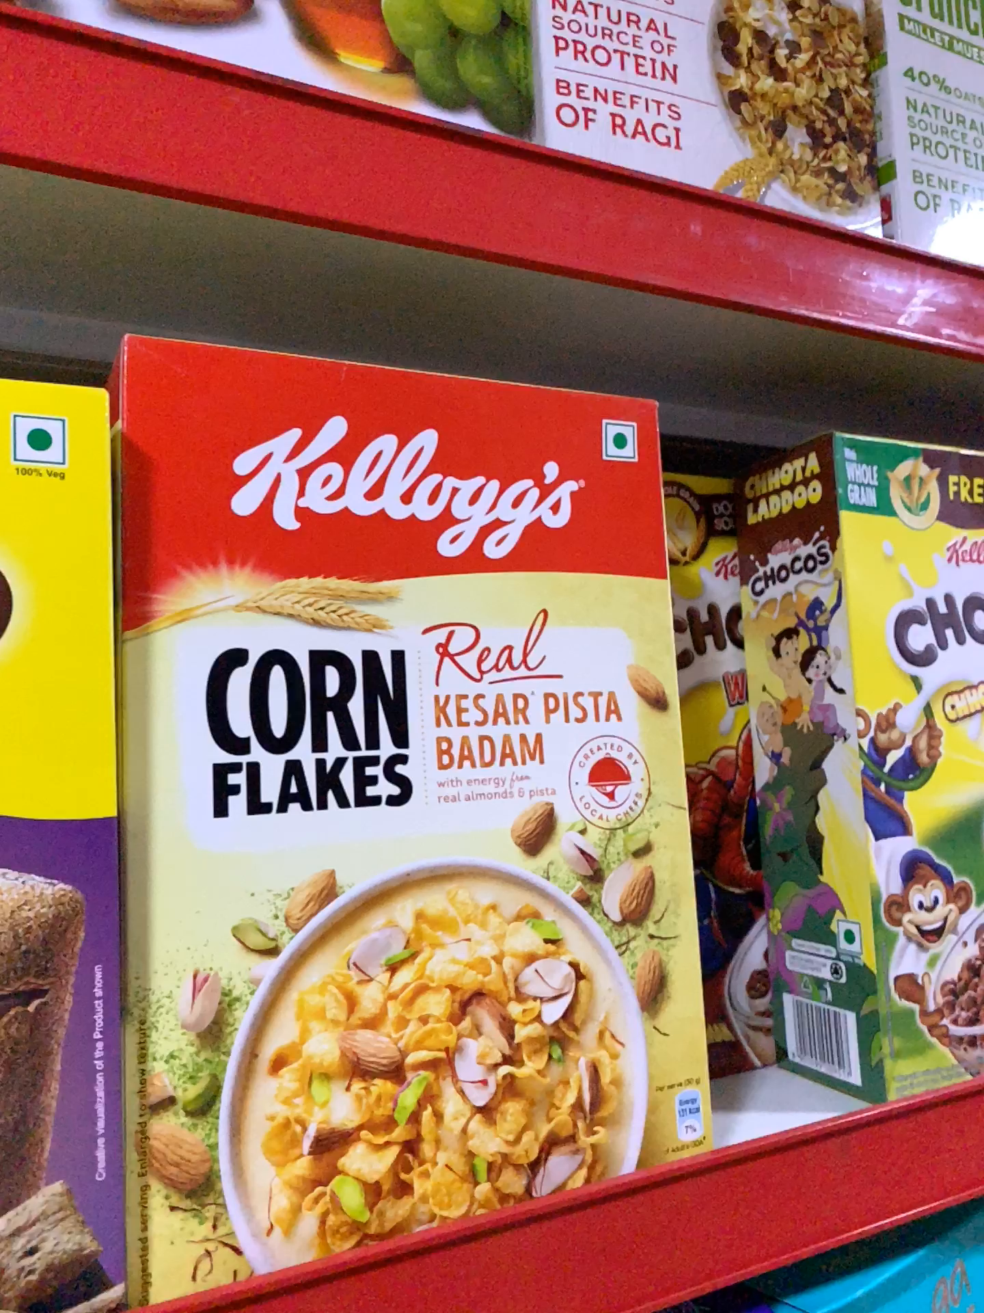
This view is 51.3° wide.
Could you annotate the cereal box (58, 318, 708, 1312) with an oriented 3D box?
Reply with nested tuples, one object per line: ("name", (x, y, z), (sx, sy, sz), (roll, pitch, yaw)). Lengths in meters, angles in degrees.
("cereal box", (-0.035, 0.041, 0.320), (0.180, 0.251, 0.070), (1, -7, -26))
